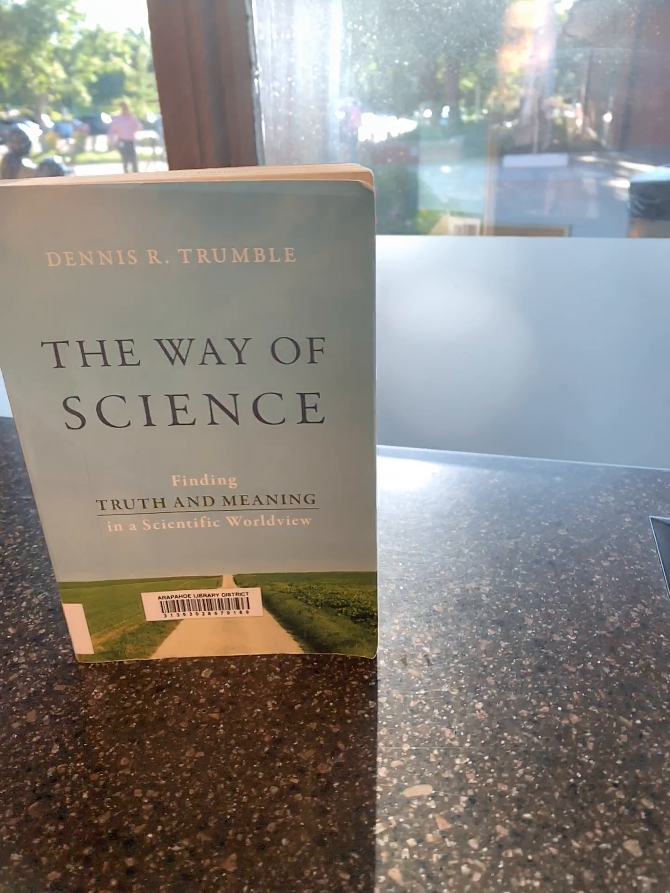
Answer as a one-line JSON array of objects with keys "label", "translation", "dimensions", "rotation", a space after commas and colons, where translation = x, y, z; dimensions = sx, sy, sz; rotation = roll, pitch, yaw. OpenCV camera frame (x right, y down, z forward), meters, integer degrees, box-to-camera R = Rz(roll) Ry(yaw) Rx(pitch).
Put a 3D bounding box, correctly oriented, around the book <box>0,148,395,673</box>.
[{"label": "book", "translation": [-0.060, -0.004, 0.296], "dimensions": [0.167, 0.219, 0.040], "rotation": [-2, 26, 1]}]
